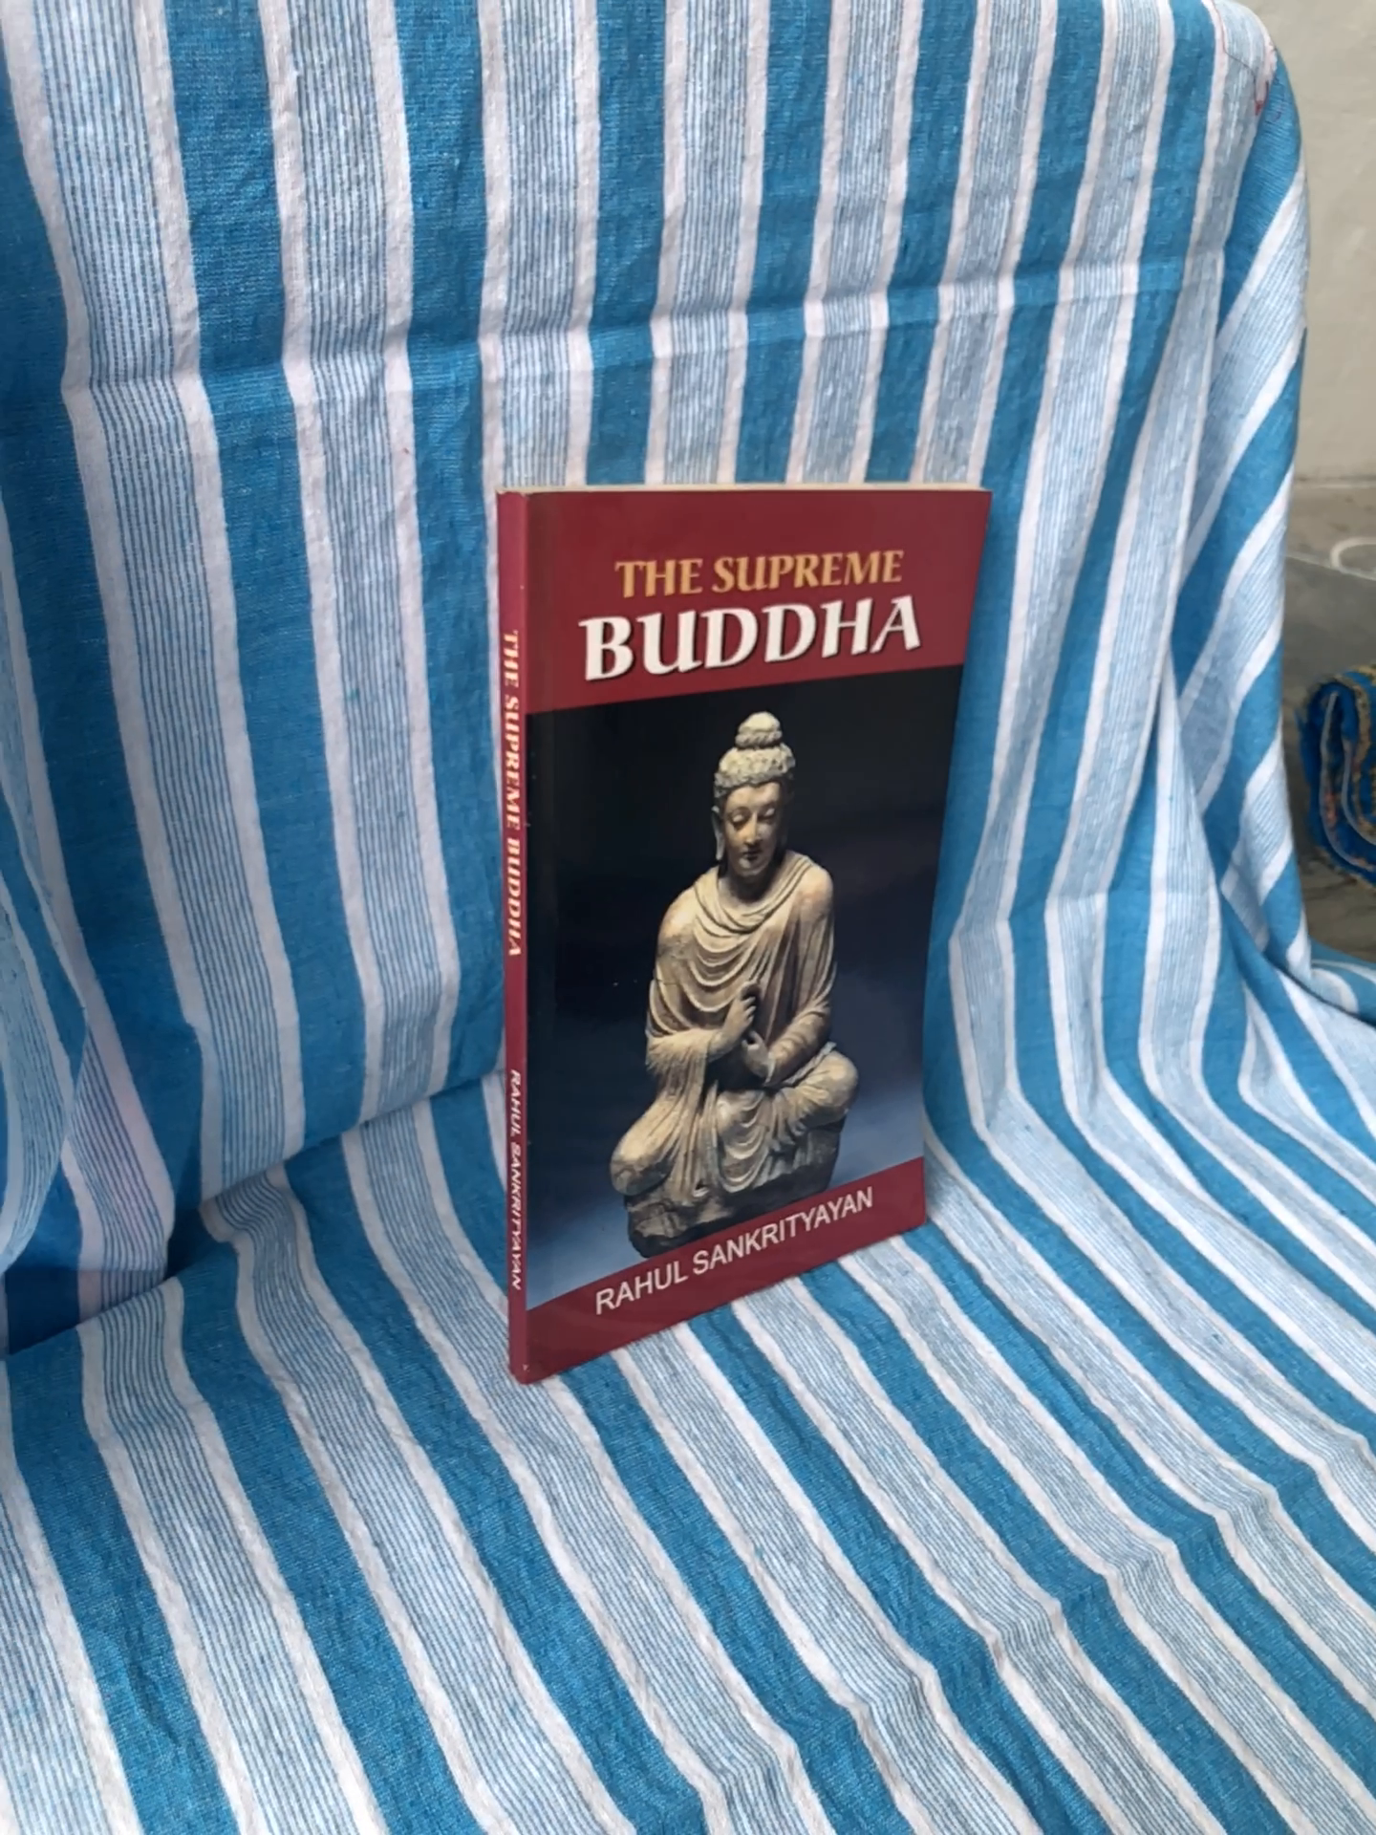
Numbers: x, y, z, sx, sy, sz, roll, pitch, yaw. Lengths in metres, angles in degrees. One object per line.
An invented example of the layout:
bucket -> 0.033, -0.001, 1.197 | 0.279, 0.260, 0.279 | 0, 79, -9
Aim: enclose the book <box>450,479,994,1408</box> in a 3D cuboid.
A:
book -> 0.012, 0.001, 0.397 | 0.151, 0.219, 0.020 | -12, 22, -36
